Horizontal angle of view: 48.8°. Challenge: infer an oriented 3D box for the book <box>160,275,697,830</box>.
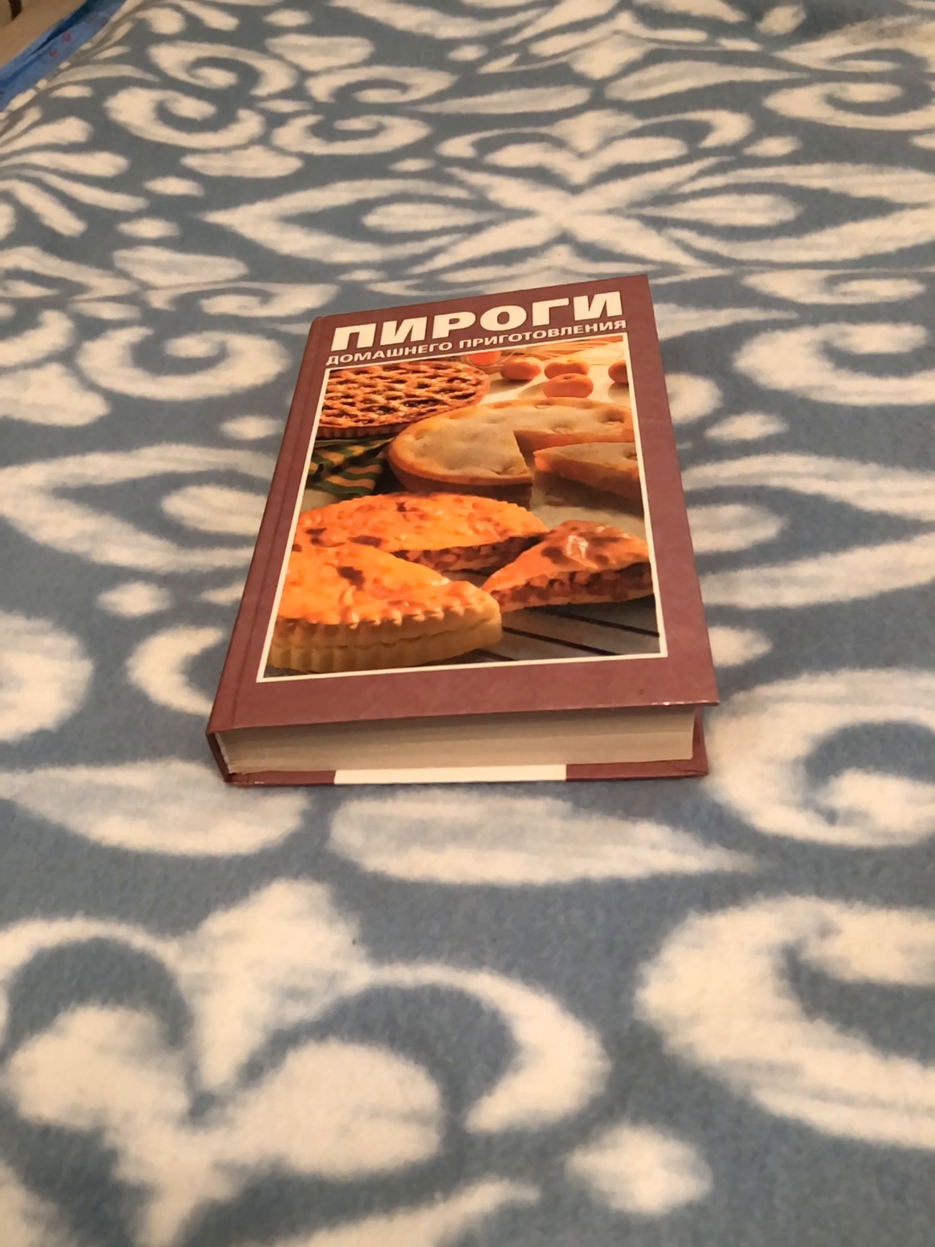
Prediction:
[{"bbox_3d":[-0.005,-0.035,0.330,0.131,0.040,0.202,-4,47,8],"label":"book"}]
